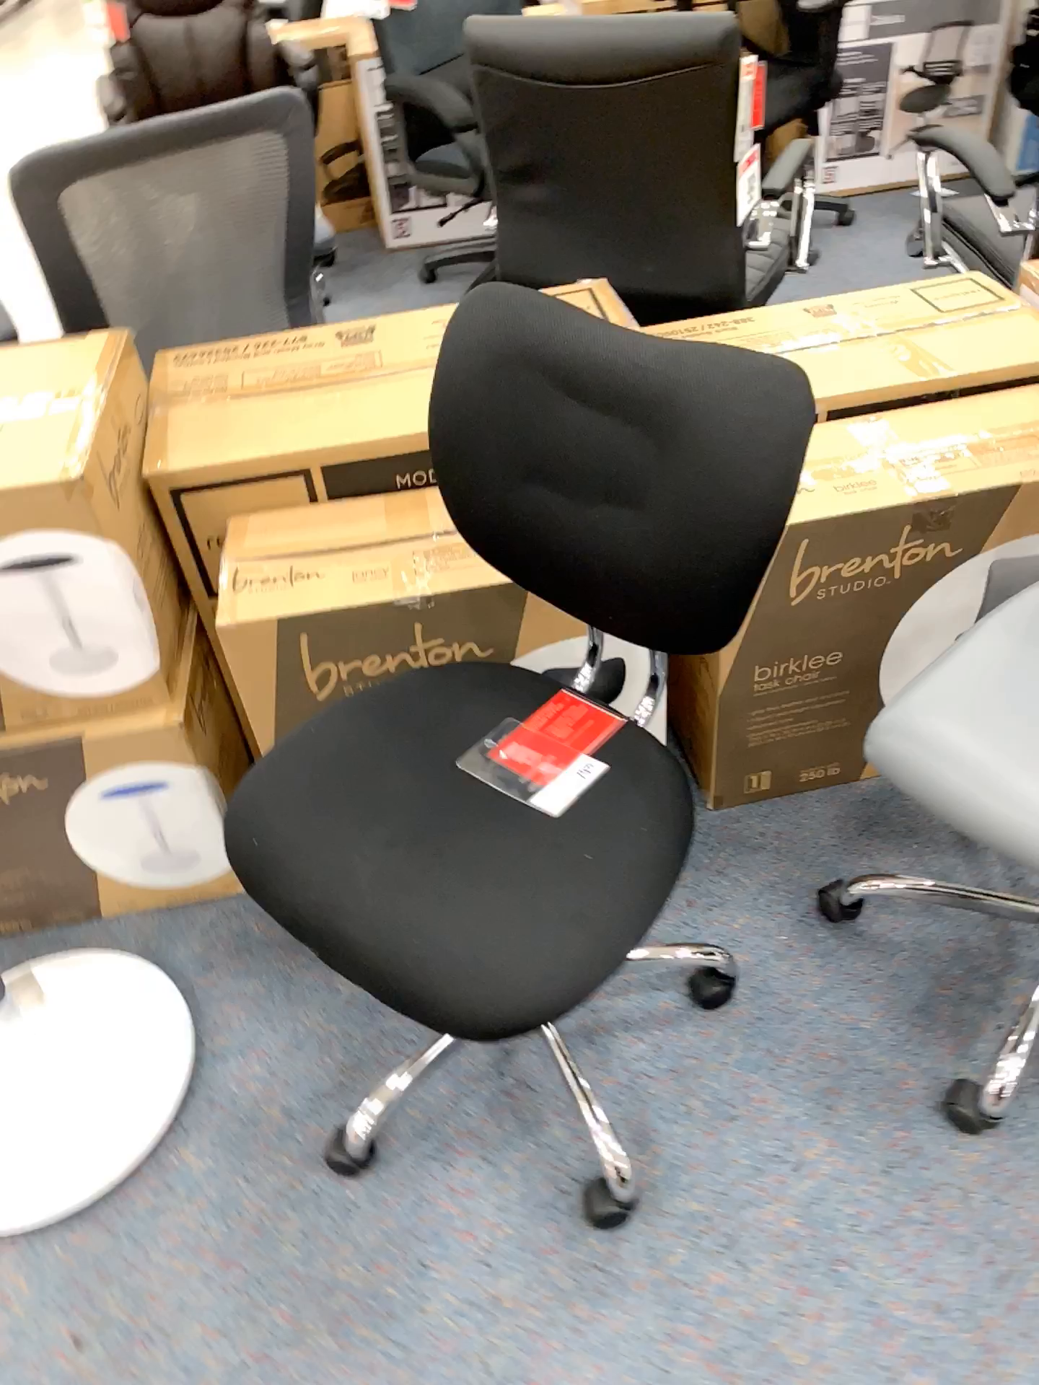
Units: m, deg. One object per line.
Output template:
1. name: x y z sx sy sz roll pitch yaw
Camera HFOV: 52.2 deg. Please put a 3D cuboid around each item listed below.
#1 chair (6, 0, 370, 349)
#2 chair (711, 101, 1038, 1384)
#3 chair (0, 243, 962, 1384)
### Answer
1. chair: -1.011 -1.835 3.370 0.737 1.049 0.871 -15 42 -9
2. chair: 0.721 0.017 1.135 0.739 0.959 0.709 23 49 29
3. chair: -0.056 0.114 1.169 0.649 0.879 0.659 28 52 33
